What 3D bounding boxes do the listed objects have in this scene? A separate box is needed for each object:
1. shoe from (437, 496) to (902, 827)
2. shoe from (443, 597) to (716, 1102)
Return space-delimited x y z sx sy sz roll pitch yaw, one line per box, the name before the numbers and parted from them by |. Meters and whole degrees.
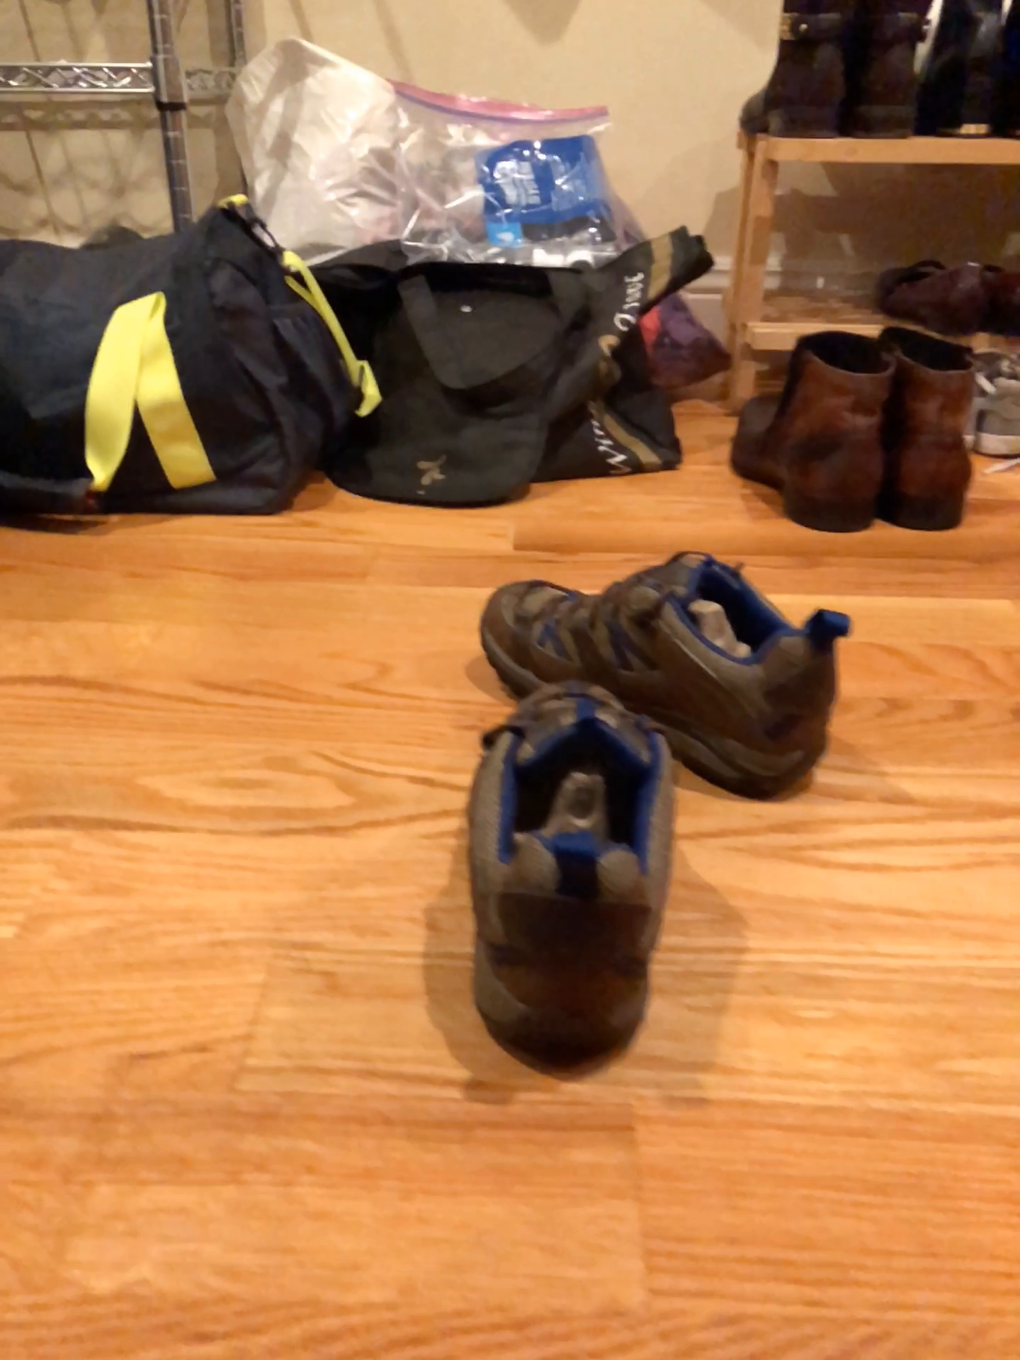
shoe | 0.081 -0.023 0.652 0.252 0.094 0.097 23 35 36
shoe | 0.029 0.059 0.515 0.094 0.106 0.241 2 28 2
